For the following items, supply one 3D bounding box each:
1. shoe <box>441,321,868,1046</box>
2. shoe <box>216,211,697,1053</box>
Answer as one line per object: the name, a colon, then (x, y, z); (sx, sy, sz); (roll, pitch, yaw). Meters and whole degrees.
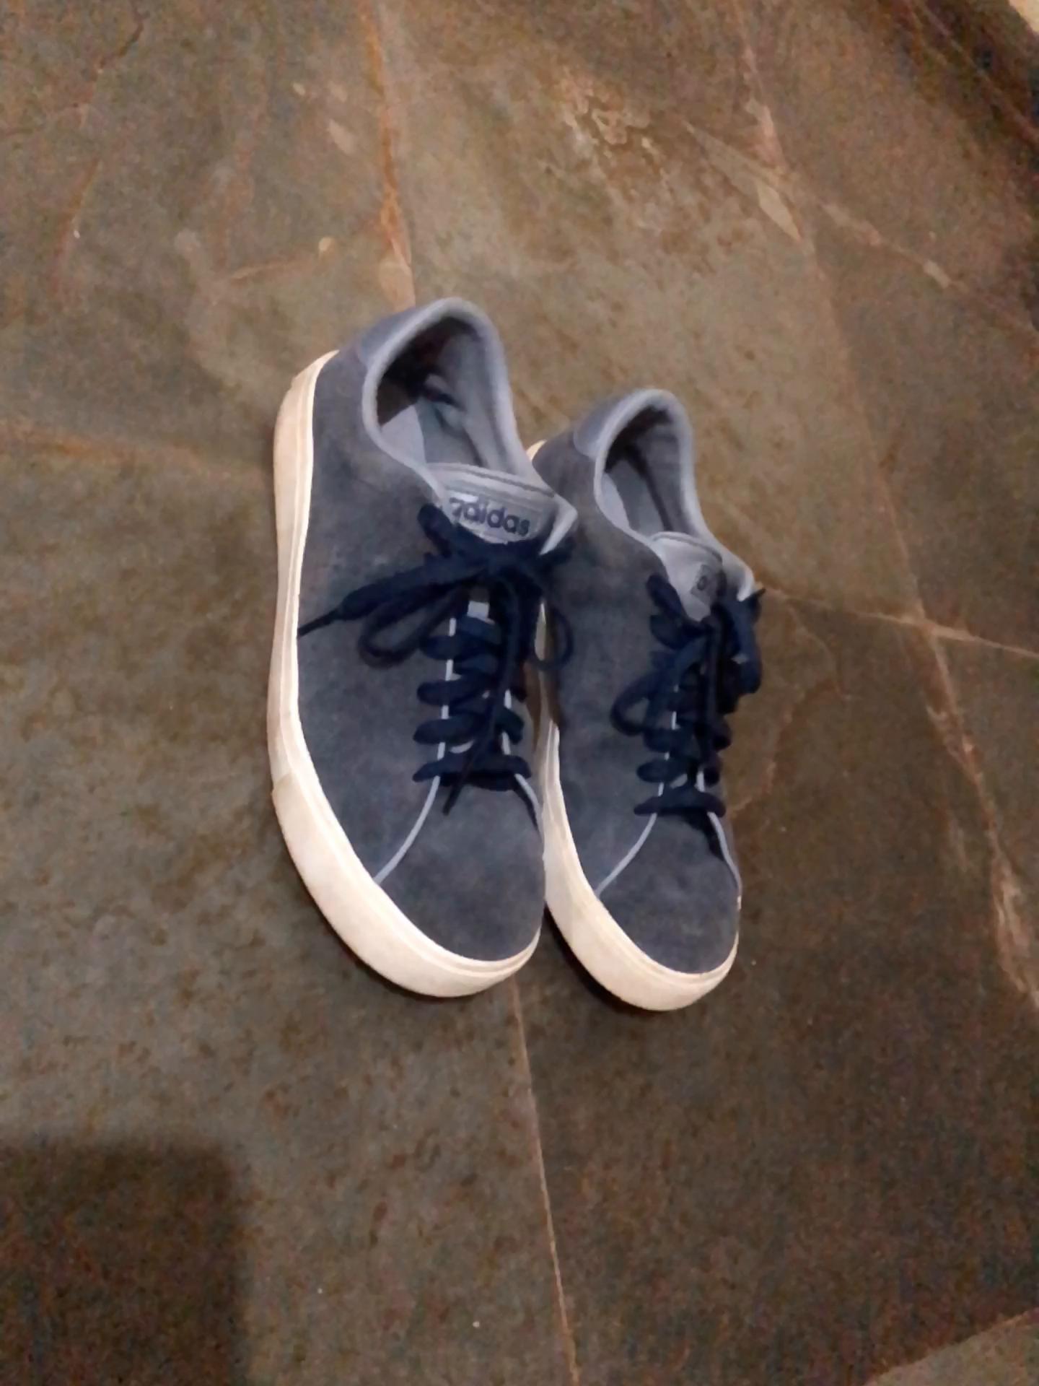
shoe: (0.049, -0.004, 0.487); (0.111, 0.079, 0.281); (9, 62, -37)
shoe: (-0.031, -0.022, 0.412); (0.111, 0.079, 0.271); (7, 64, -38)
